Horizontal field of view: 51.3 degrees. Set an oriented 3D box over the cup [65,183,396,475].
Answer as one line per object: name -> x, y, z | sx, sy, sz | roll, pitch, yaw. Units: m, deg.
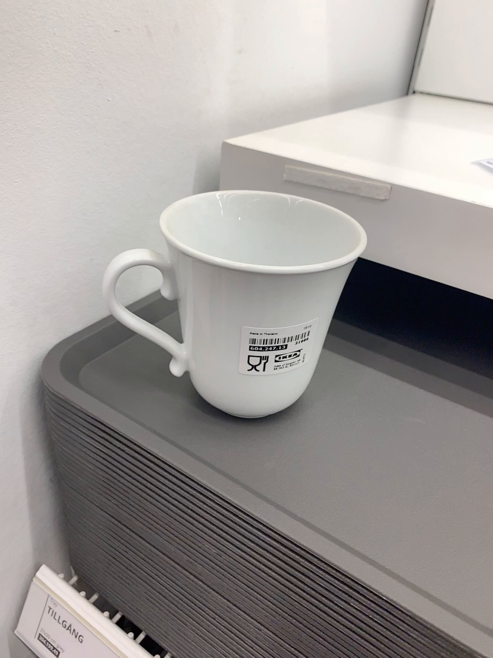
cup -> -0.017, -0.011, 0.268 | 0.130, 0.100, 0.100 | -8, 33, -21
